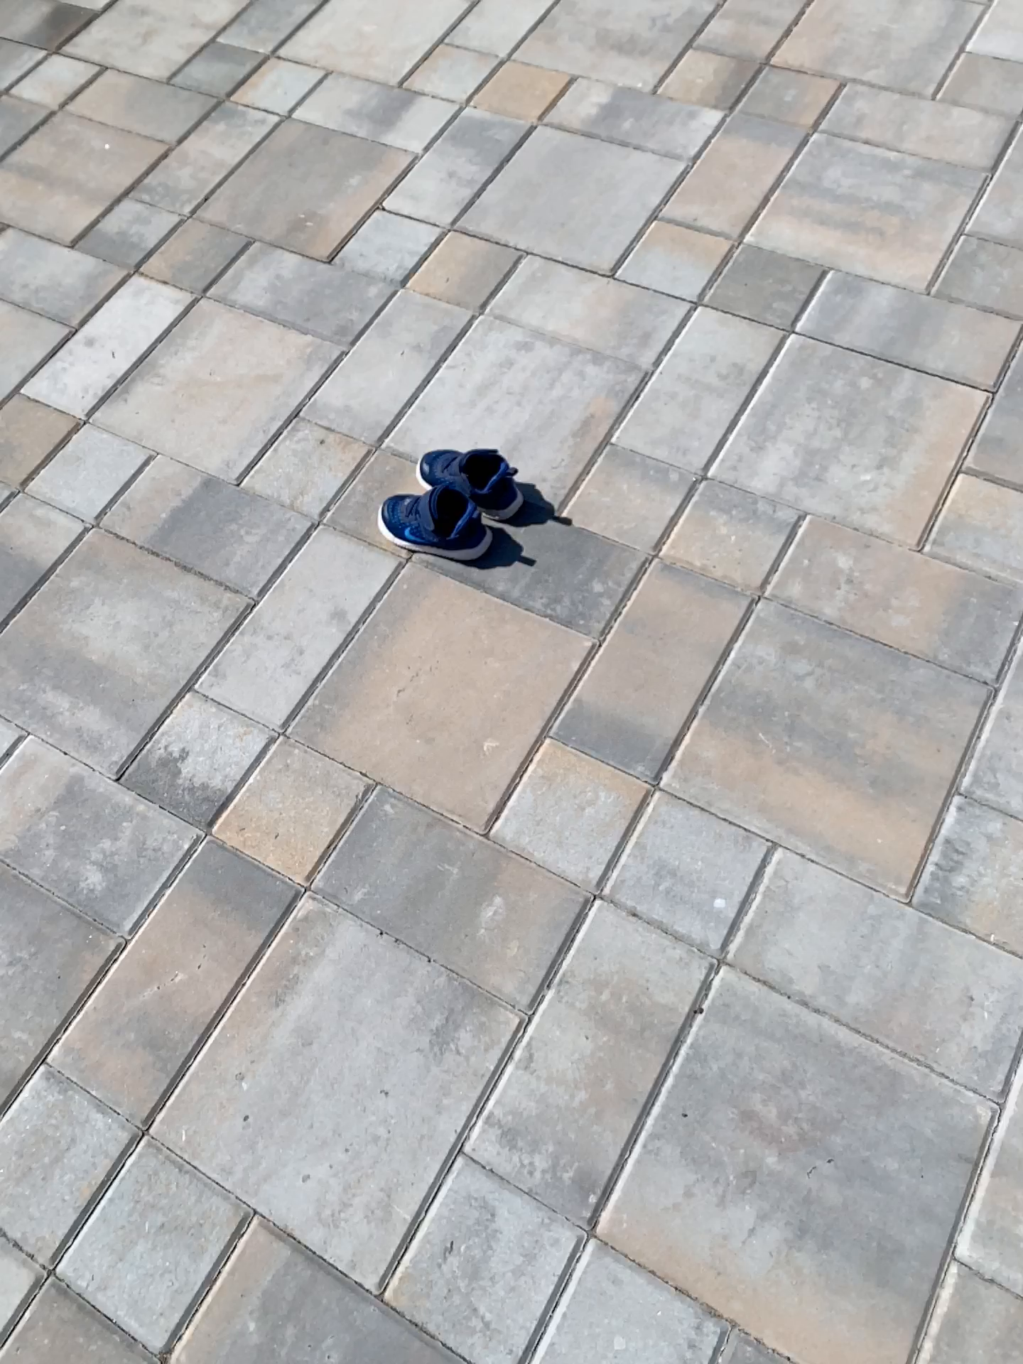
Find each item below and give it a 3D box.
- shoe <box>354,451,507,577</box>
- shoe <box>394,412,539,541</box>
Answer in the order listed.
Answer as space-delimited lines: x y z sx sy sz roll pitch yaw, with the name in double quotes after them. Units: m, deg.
-0.106 -0.226 1.409 0.170 0.090 0.090 19 64 16 "shoe"
-0.061 -0.288 1.465 0.170 0.090 0.090 25 66 19 "shoe"
